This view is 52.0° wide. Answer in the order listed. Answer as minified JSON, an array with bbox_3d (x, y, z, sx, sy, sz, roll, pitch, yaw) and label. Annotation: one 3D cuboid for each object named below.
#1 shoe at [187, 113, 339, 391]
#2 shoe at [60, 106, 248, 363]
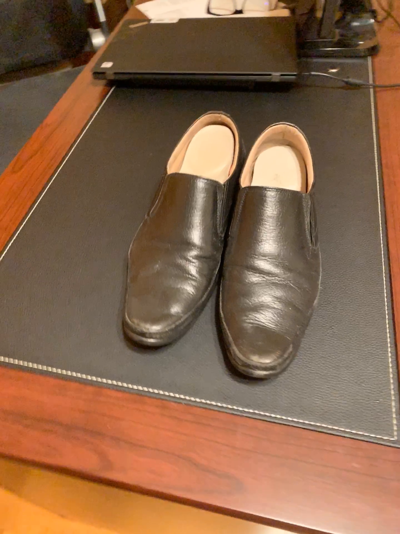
[{"bbox_3d":[0.075,-0.037,0.413,0.106,0.077,0.286,8,53,10],"label":"shoe"},{"bbox_3d":[-0.027,-0.055,0.438,0.110,0.077,0.286,8,53,10],"label":"shoe"}]
